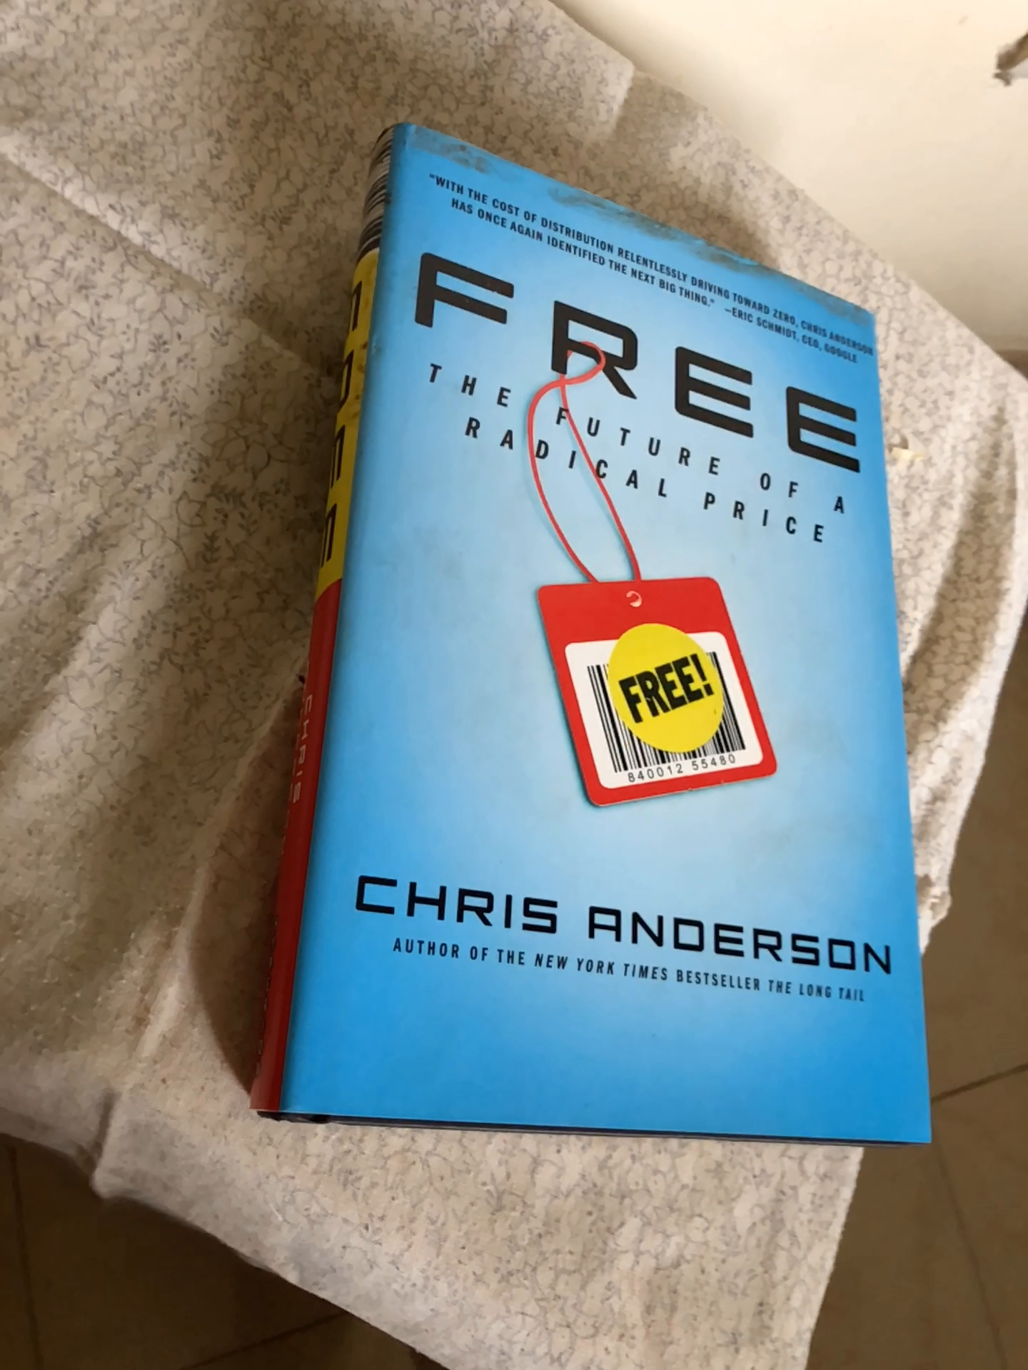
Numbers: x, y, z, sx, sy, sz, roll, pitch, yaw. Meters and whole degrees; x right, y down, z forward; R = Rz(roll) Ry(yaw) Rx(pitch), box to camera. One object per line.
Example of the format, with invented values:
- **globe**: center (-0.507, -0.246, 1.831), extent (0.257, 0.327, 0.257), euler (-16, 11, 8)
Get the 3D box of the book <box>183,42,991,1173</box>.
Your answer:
- **book**: center (0.026, -0.023, 0.309), extent (0.180, 0.040, 0.280), euler (11, 66, -20)
